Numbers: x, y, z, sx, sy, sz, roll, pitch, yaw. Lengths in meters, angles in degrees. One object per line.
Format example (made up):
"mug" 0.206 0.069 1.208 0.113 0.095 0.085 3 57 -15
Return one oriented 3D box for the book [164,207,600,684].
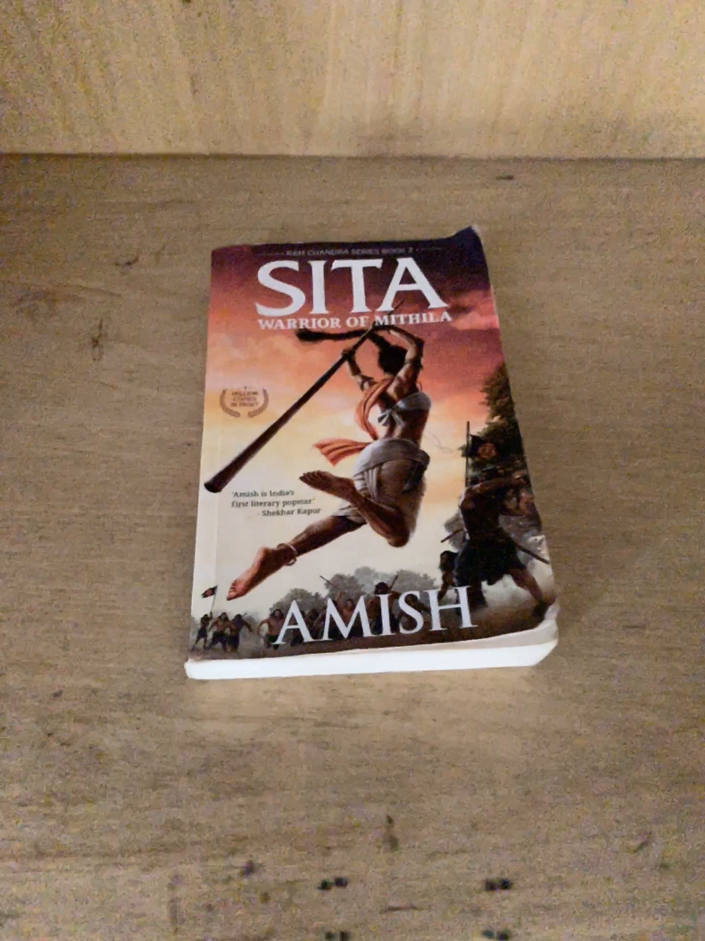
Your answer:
"book" 0.005 -0.022 0.295 0.140 0.030 0.201 -3 61 0
